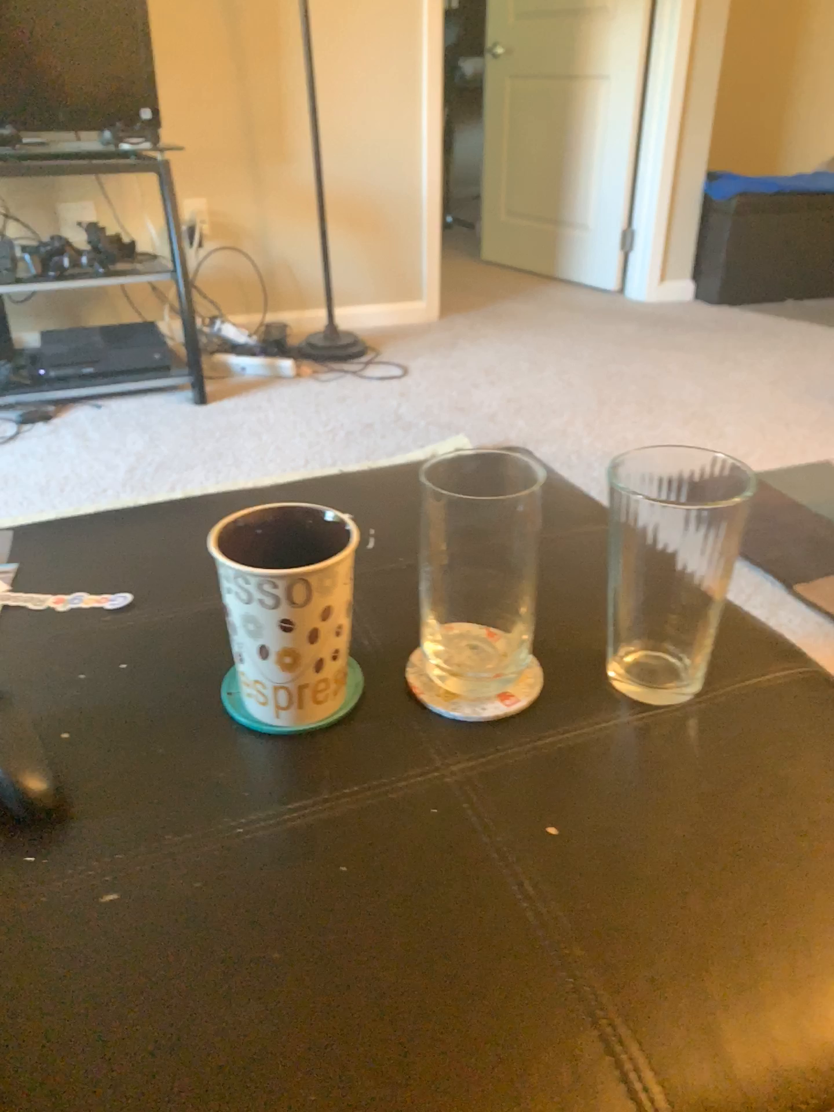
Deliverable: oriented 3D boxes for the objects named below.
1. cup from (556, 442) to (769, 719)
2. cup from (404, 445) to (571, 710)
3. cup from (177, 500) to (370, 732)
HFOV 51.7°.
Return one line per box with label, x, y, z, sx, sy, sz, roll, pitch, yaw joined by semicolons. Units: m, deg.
cup;0.142;0.014;0.524;0.080;0.139;0.080;0;29;0
cup;0.036;0.012;0.509;0.080;0.129;0.080;0;29;0
cup;-0.076;0.033;0.500;0.090;0.099;0.091;0;29;0
